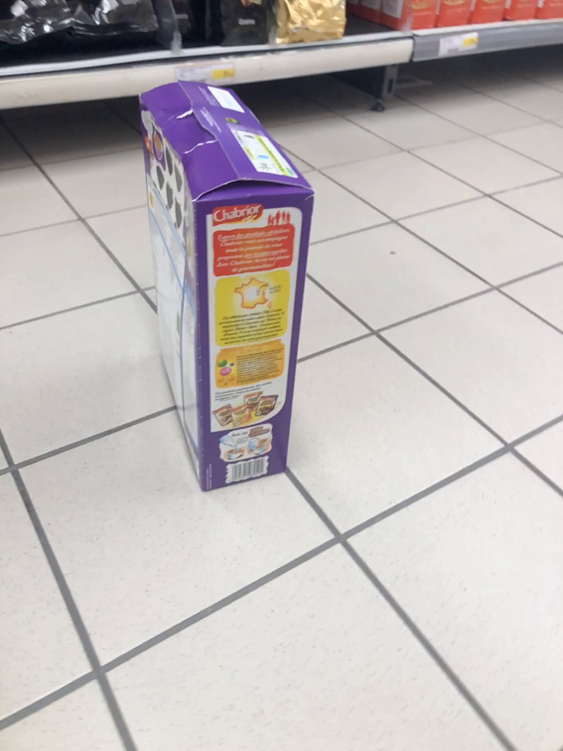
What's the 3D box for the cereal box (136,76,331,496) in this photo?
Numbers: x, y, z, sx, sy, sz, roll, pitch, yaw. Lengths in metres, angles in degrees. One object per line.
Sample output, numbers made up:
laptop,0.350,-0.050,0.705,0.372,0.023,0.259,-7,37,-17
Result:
cereal box,-0.052,-0.072,0.510,0.080,0.268,0.201,-10,43,-18
